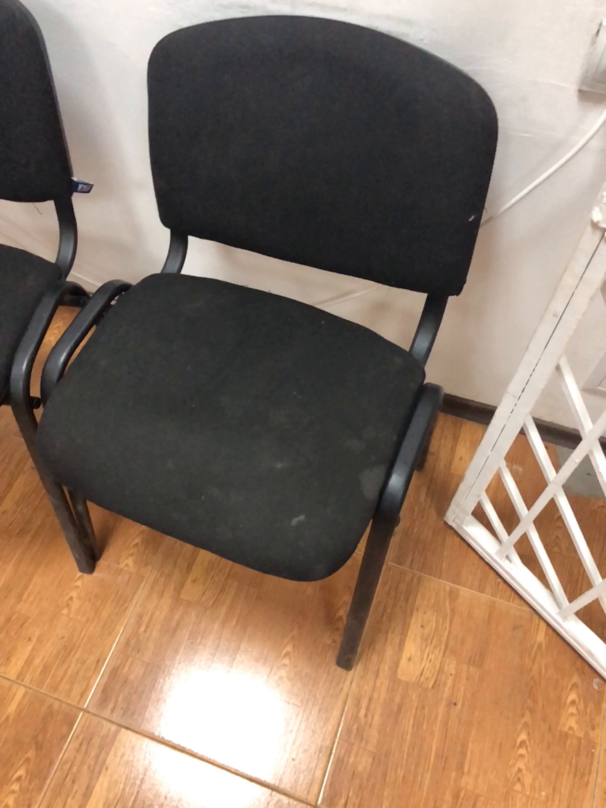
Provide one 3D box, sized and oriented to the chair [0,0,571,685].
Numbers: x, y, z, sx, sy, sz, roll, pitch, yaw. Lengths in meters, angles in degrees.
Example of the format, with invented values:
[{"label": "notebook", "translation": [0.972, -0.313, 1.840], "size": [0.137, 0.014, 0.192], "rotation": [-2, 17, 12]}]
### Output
[{"label": "chair", "translation": [-0.063, -0.034, 0.900], "size": [0.520, 0.748, 0.511], "rotation": [17, 60, 11]}]
